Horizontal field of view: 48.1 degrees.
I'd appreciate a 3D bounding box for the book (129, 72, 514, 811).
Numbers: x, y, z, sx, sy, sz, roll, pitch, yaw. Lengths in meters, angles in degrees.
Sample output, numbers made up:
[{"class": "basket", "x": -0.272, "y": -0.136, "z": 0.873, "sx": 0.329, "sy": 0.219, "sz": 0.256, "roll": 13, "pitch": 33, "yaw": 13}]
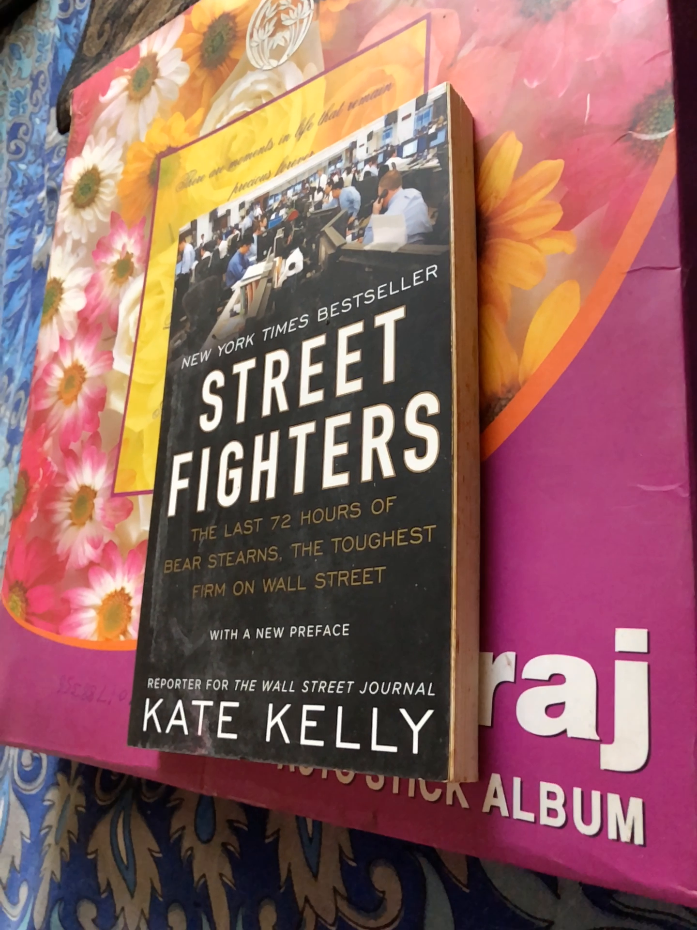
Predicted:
[{"class": "book", "x": -0.015, "y": -0.005, "z": 0.270, "sx": 0.141, "sy": 0.030, "sz": 0.210, "roll": -13, "pitch": 69, "yaw": 42}]
